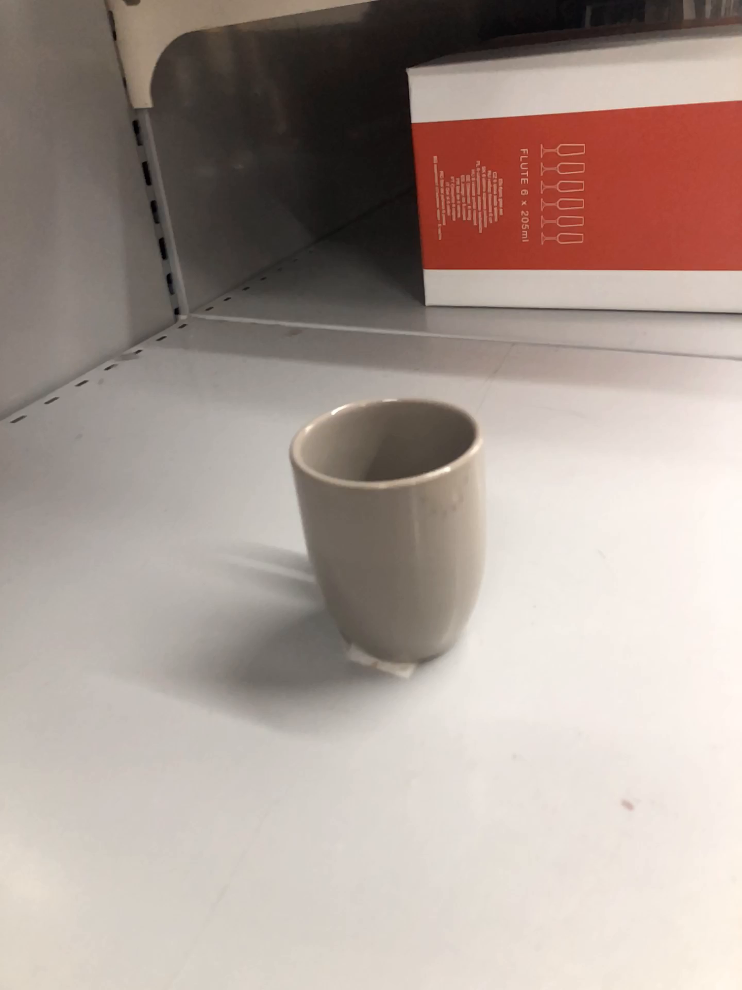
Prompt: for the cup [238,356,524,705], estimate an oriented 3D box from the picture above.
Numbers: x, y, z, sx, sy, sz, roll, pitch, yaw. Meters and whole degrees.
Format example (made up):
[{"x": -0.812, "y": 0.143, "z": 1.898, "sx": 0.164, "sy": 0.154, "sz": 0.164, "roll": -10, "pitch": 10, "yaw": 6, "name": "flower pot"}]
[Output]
[{"x": 0.000, "y": 0.005, "z": 0.264, "sx": 0.064, "sy": 0.062, "sz": 0.092, "roll": -13, "pitch": 32, "yaw": -11, "name": "cup"}]
